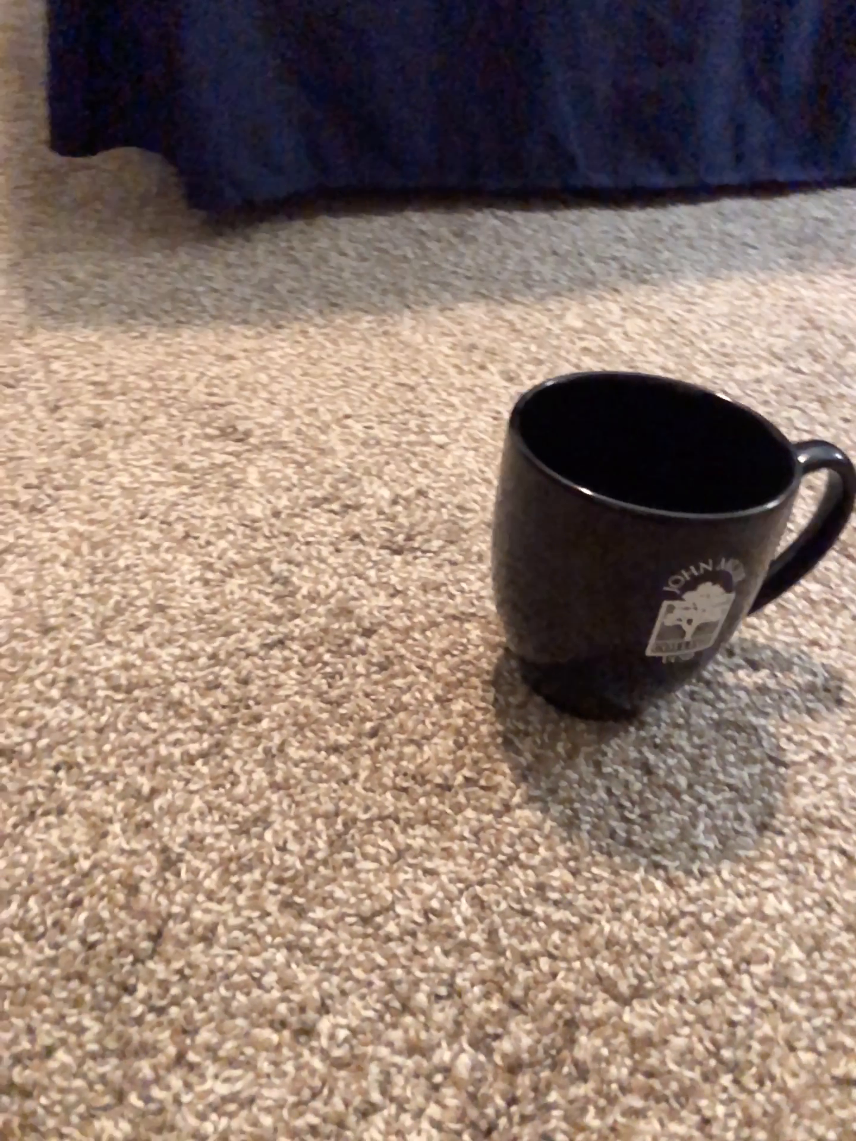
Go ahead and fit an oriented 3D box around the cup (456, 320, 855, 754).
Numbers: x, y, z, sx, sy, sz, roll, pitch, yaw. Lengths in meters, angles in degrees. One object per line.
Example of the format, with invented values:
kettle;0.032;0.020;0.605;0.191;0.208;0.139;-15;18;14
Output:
cup;0.094;-0.017;0.326;0.140;0.090;0.090;-11;41;-17
